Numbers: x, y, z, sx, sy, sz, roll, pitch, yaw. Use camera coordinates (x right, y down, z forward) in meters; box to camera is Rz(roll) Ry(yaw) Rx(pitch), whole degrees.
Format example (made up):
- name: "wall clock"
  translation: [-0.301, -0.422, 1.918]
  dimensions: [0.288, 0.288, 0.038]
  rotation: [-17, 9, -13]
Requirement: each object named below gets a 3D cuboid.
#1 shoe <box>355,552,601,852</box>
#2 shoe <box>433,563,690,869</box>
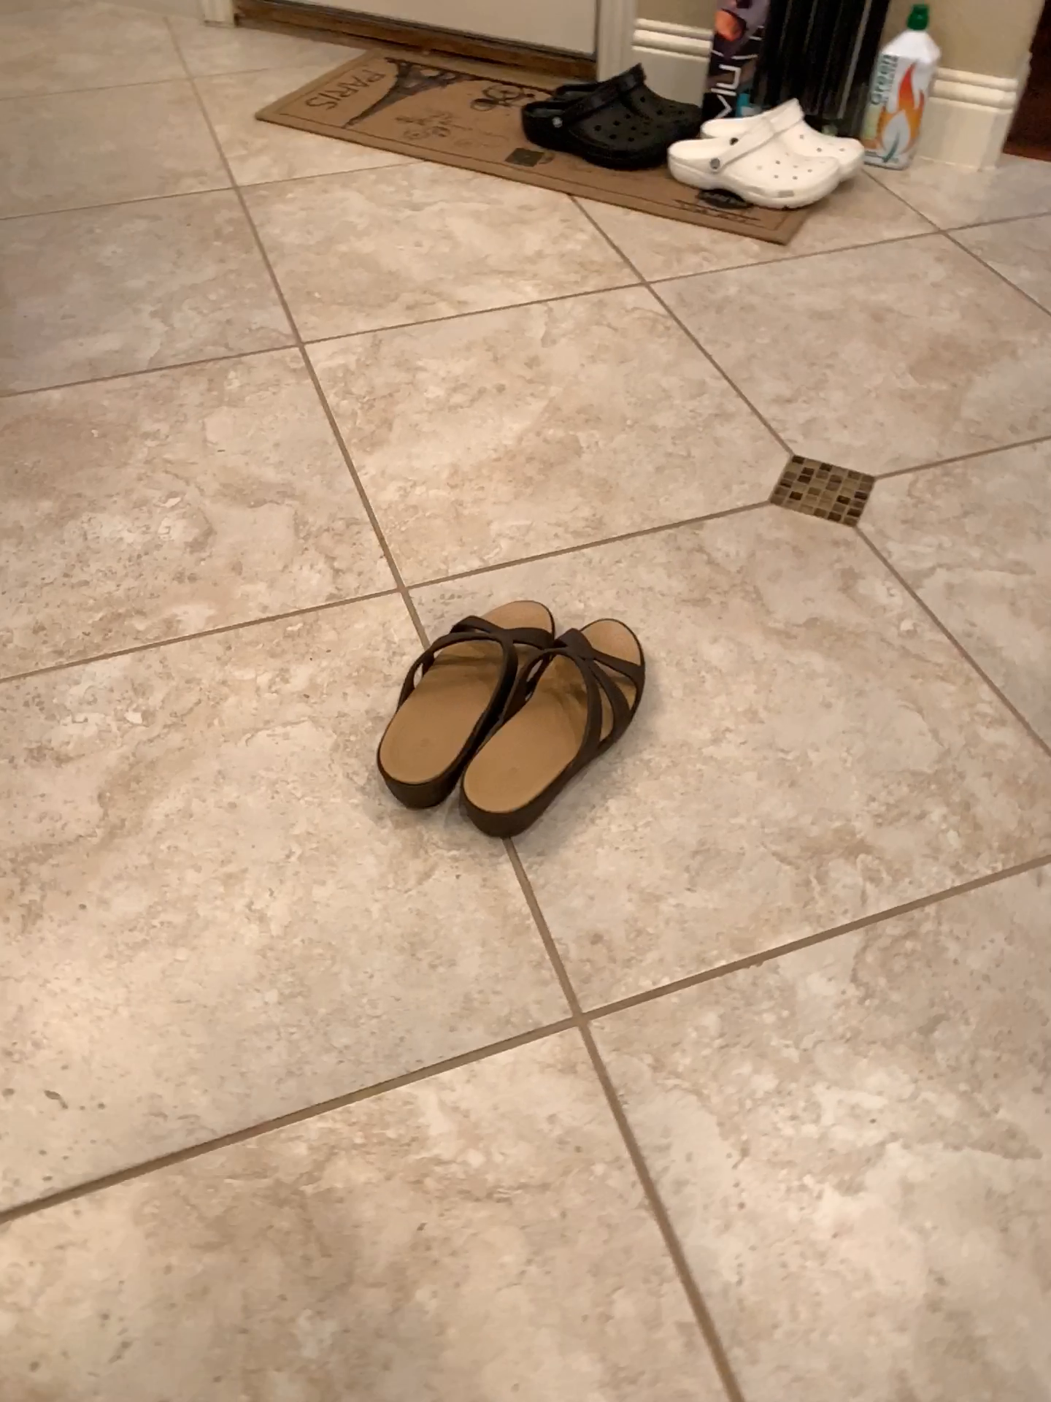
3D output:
- name: "shoe"
  translation: [-0.035, -0.008, 0.988]
  dimensions: [0.110, 0.092, 0.264]
  rotation: [20, 51, 16]
- name: "shoe"
  translation: [0.037, 0.005, 0.952]
  dimensions: [0.110, 0.092, 0.259]
  rotation: [24, 52, 19]
